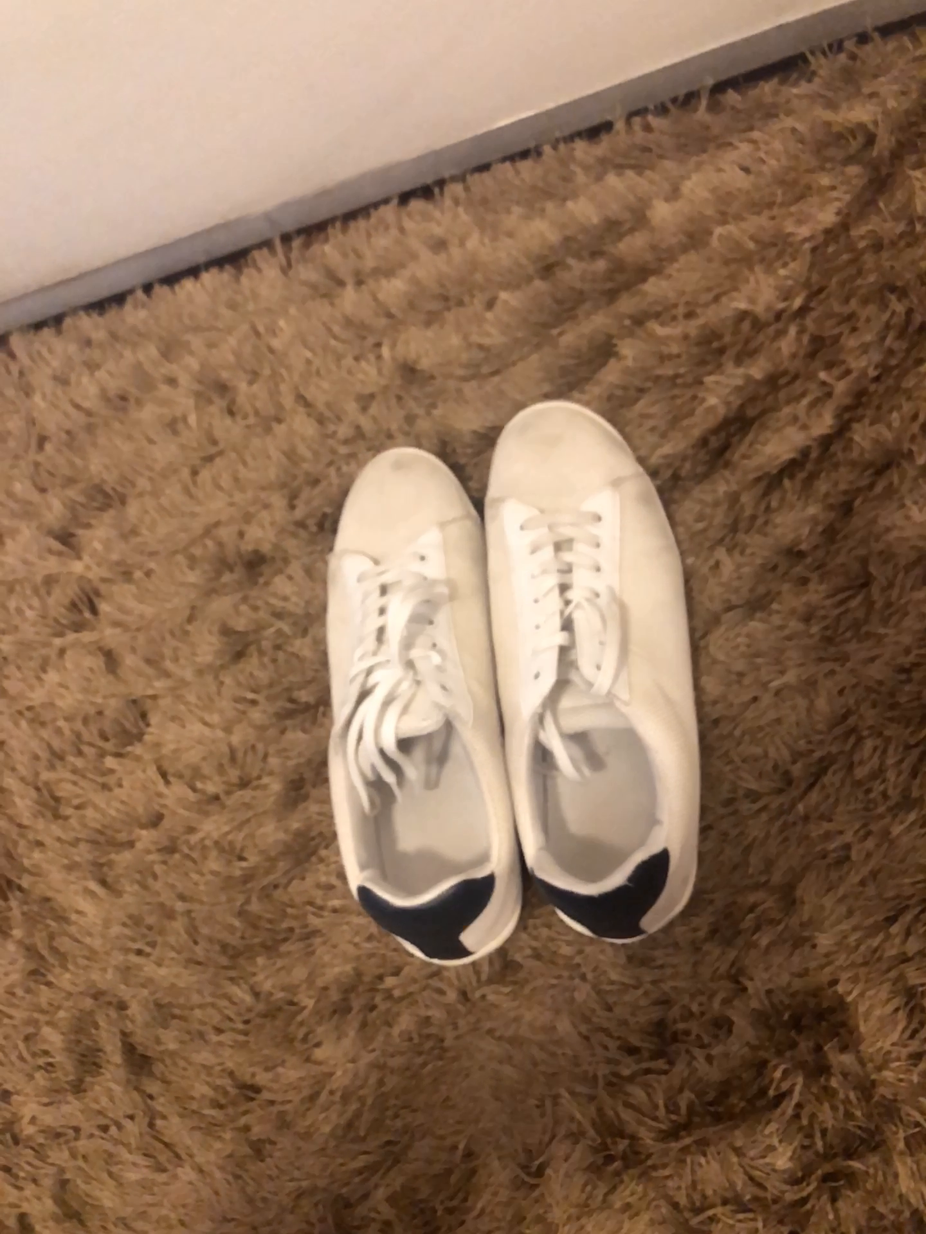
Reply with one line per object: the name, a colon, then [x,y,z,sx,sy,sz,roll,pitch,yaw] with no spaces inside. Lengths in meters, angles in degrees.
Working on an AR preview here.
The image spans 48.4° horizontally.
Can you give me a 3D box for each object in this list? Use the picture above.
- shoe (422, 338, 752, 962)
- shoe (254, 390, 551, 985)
shoe: [0.055,0.017,0.483,0.104,0.079,0.264,-11,72,16]
shoe: [-0.032,0.035,0.509,0.100,0.079,0.264,-12,71,16]
